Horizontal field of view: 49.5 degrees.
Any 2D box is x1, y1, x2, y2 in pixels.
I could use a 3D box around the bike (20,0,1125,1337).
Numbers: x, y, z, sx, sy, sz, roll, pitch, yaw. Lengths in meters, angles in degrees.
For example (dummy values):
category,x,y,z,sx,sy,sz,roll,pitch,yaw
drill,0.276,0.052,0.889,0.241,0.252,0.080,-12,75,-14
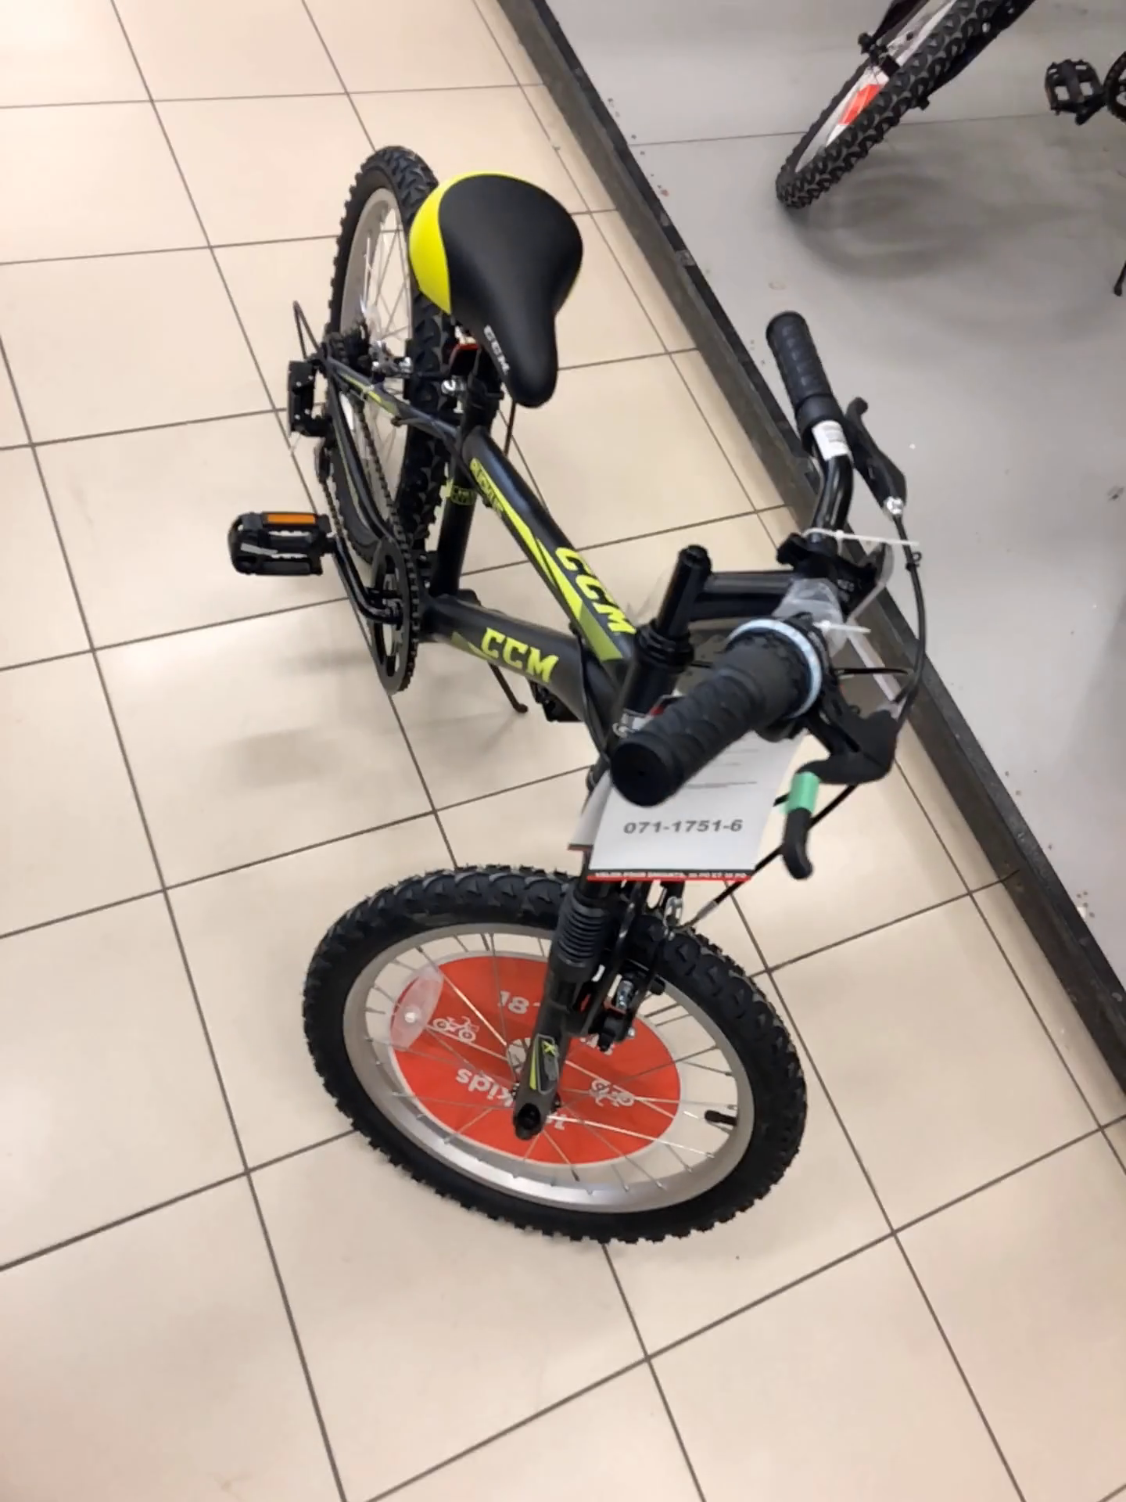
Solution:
category,x,y,z,sx,sy,sz,roll,pitch,yaw
bike,-0.011,-0.216,1.091,0.550,0.862,1.196,-14,67,-22
